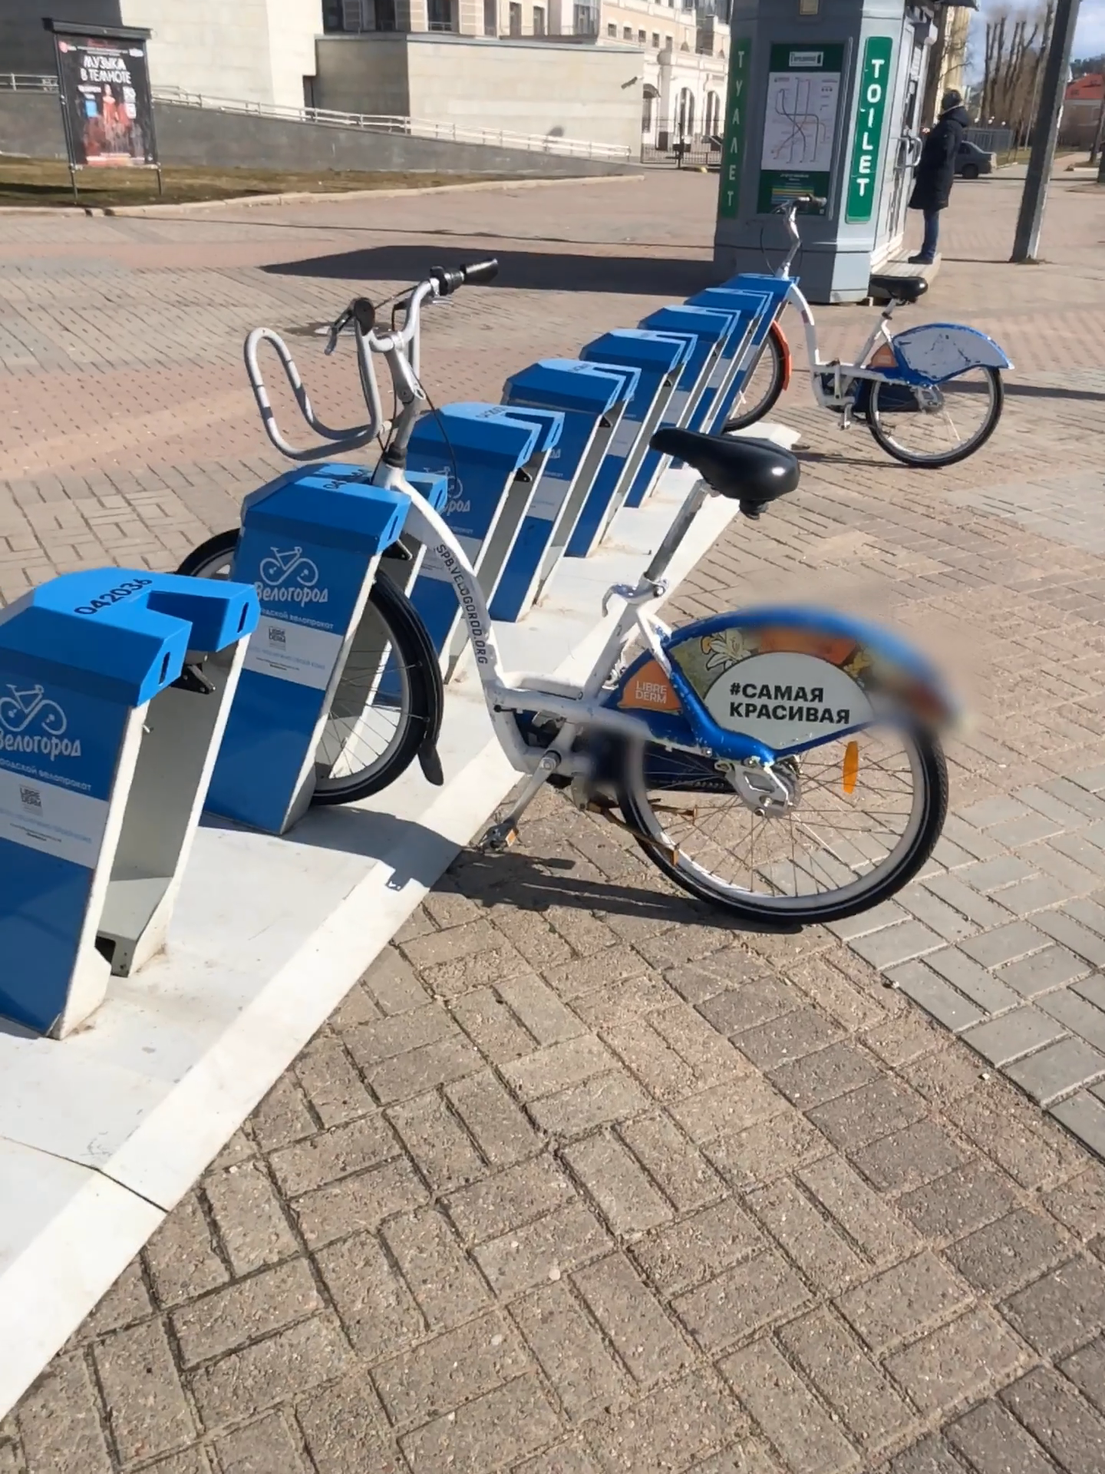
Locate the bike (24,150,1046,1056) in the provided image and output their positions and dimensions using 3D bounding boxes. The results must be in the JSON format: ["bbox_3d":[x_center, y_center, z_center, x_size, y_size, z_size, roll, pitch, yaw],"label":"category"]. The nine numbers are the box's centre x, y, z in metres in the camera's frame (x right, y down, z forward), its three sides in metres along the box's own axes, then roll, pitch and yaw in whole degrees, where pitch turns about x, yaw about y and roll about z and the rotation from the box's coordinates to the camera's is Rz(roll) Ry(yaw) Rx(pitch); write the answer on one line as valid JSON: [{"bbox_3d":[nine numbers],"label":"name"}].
[{"bbox_3d":[-0.034,-0.325,2.304,1.627,1.204,0.598,13,28,14],"label":"bike"}]
